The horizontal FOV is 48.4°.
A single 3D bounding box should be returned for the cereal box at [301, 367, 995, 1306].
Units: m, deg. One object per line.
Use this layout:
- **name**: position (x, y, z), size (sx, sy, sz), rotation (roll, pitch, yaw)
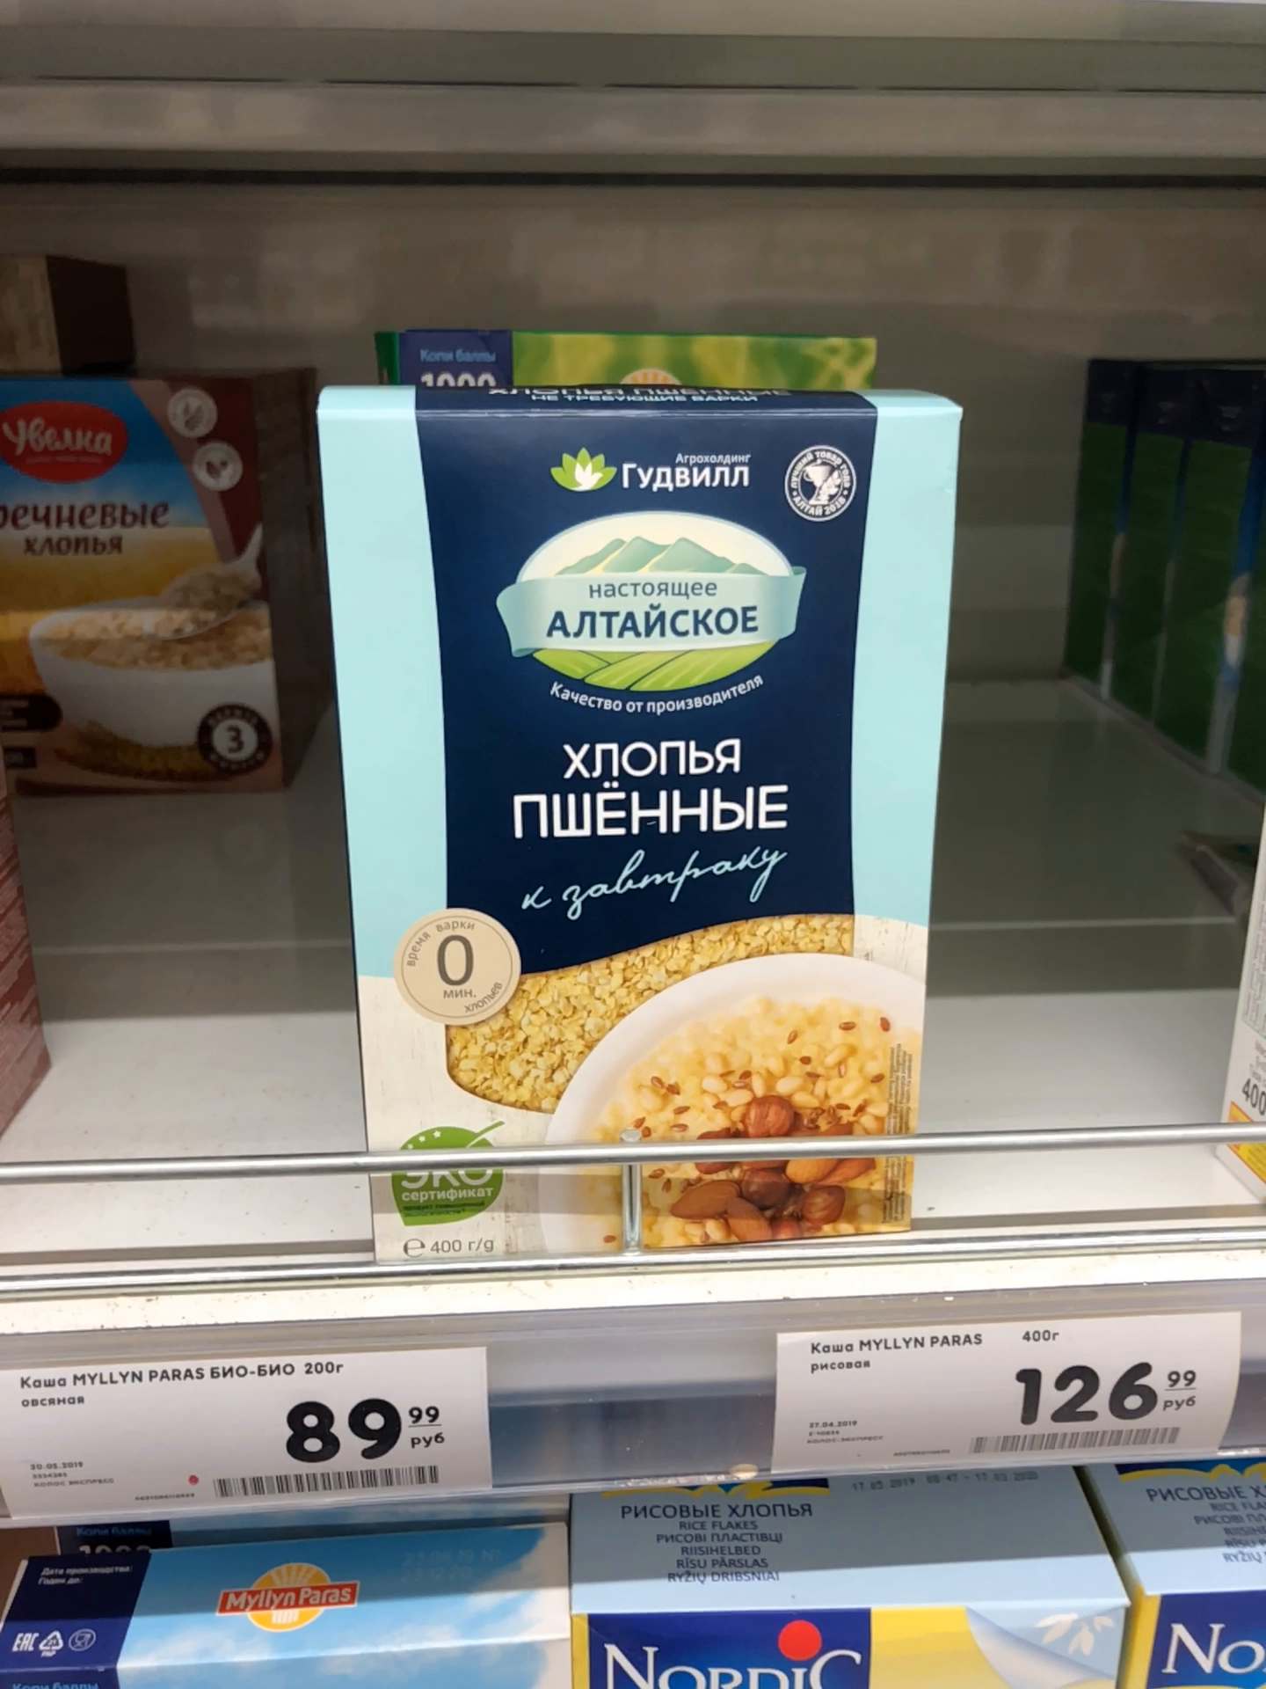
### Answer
- **cereal box**: position (0.002, -0.003, 0.321), size (0.130, 0.199, 0.060), rotation (-2, 18, -6)
